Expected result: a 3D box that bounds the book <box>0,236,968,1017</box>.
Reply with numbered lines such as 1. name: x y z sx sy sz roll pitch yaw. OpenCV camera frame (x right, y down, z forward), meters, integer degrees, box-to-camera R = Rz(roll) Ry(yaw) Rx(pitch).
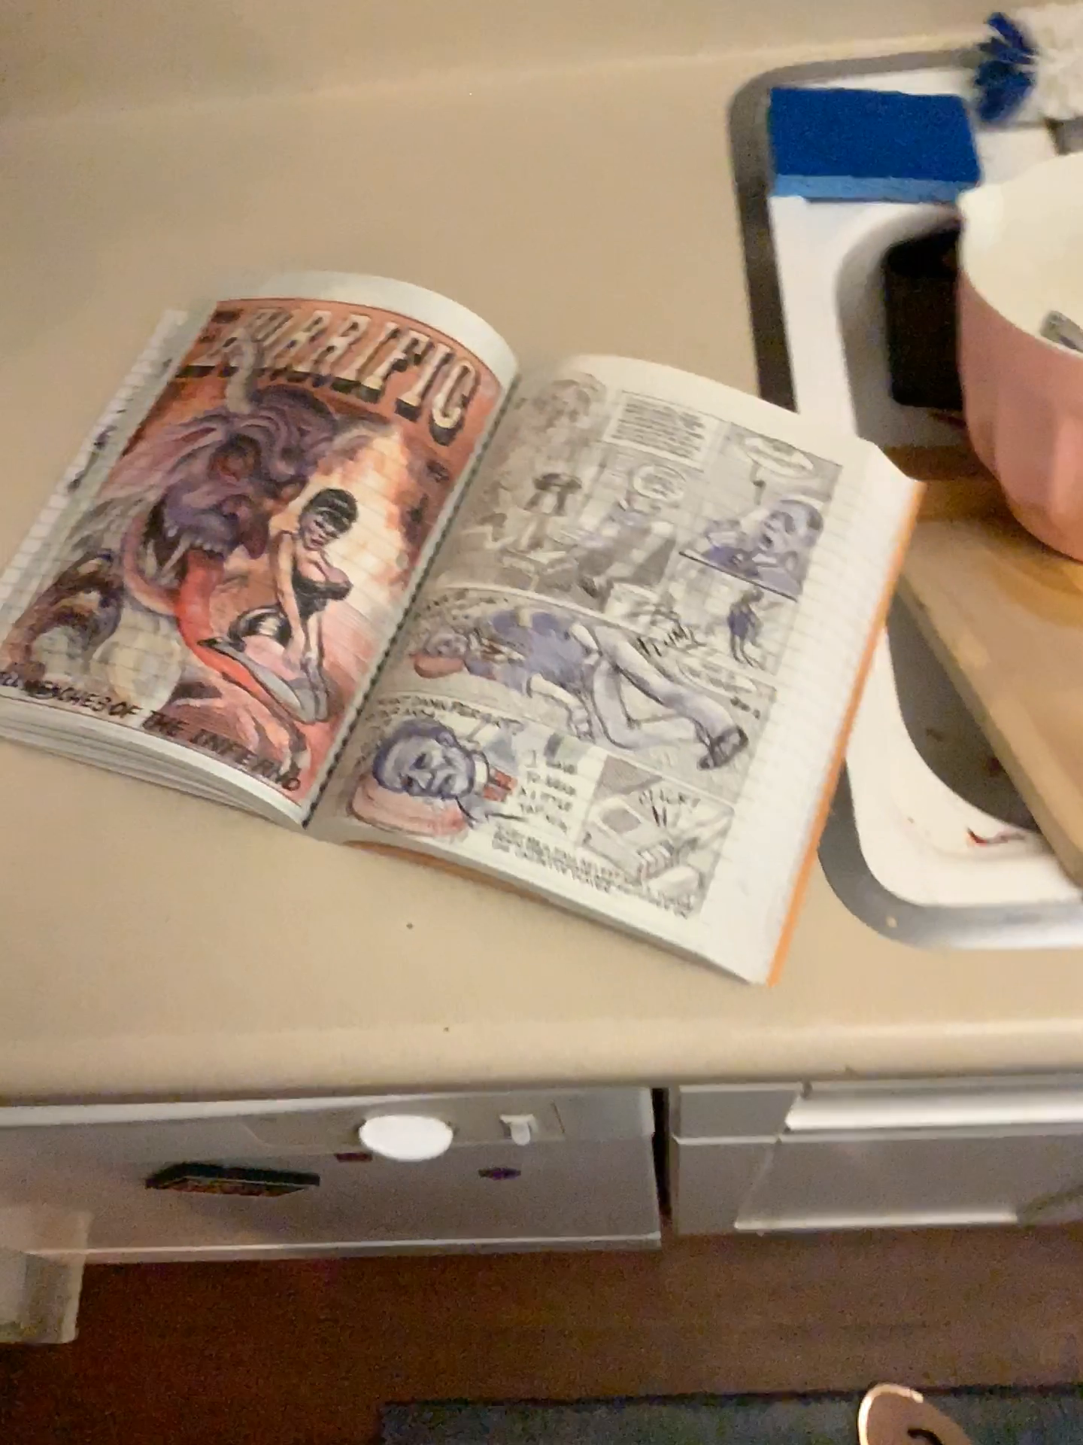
1. book: -0.056 -0.072 0.556 0.430 0.050 0.280 16 65 14
